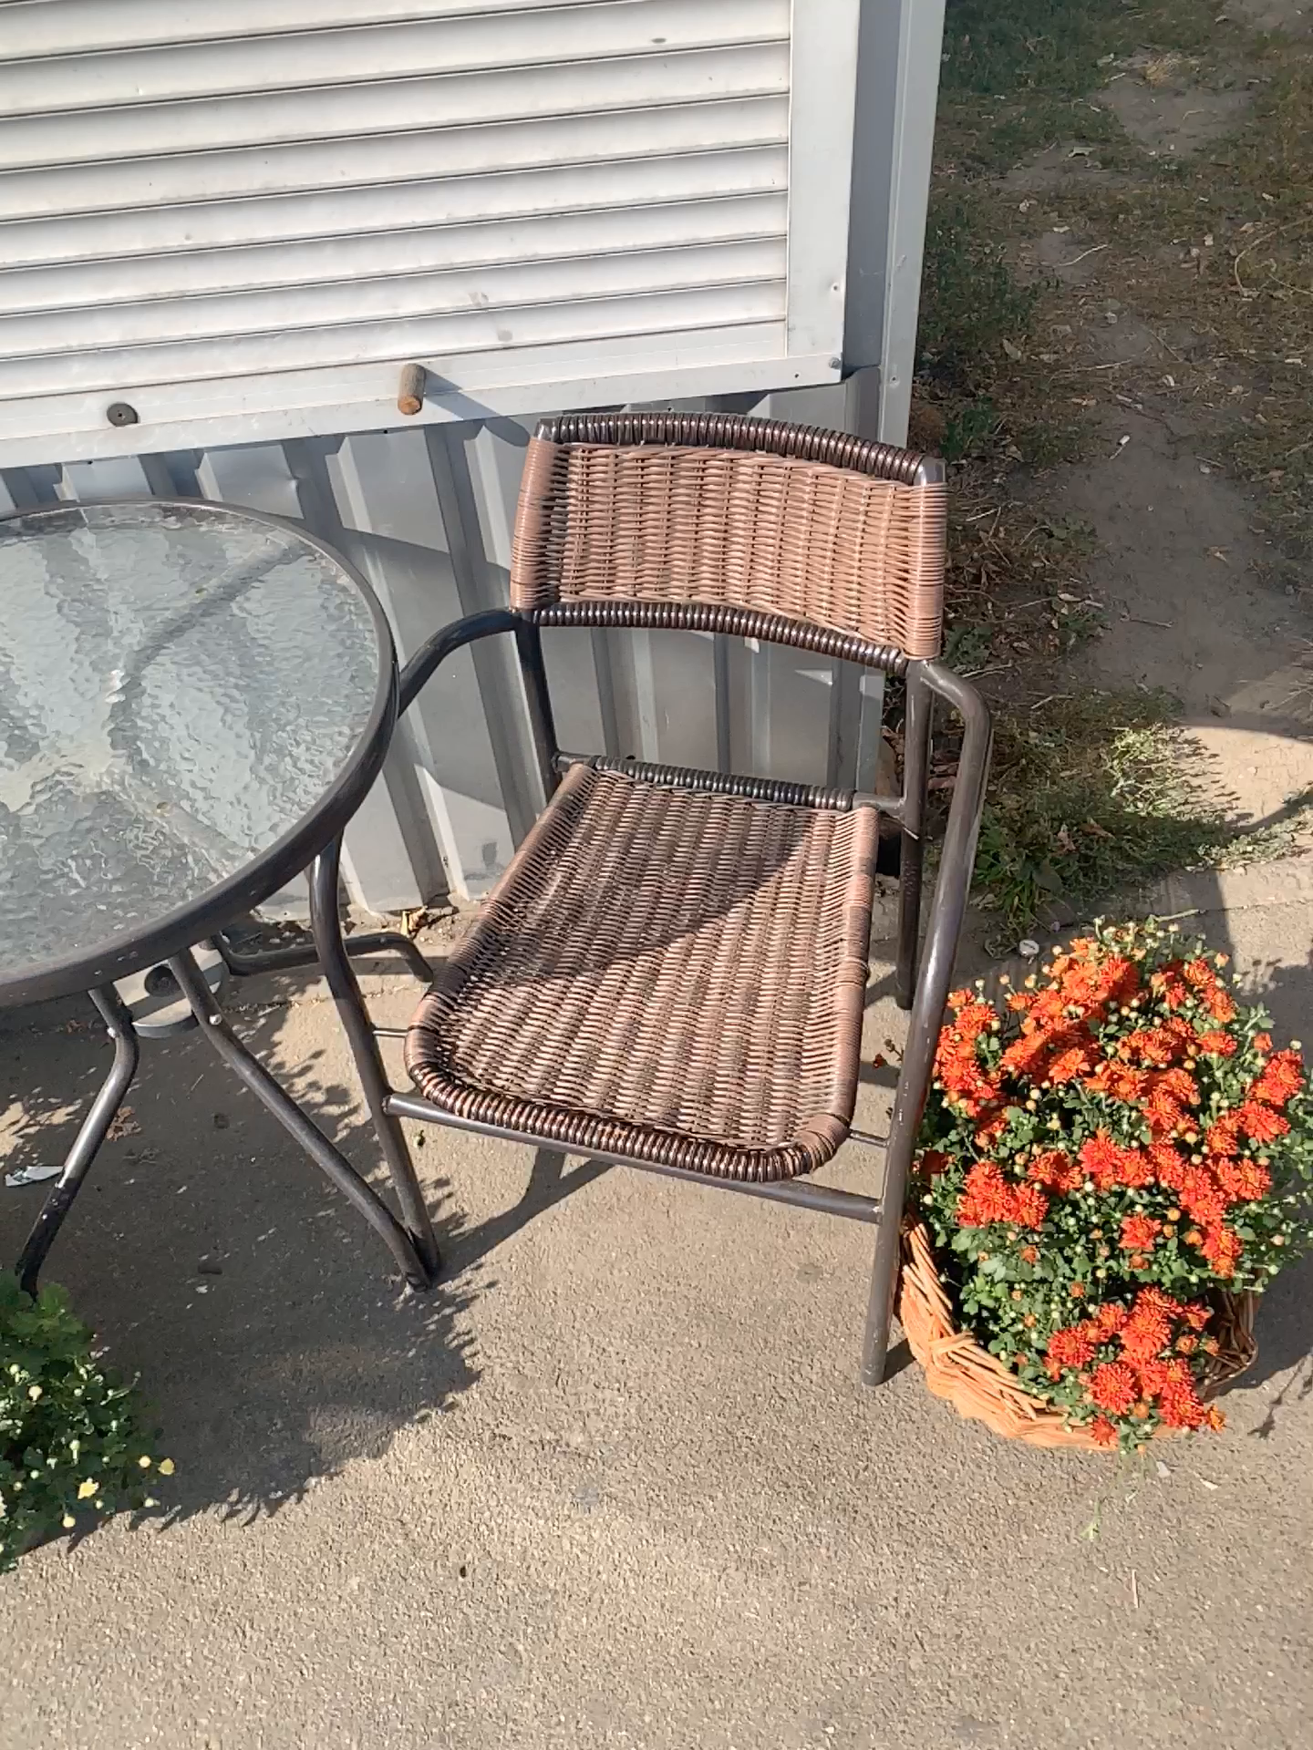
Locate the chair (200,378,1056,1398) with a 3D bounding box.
[{"bbox_3d":[0.049,0.010,1.396,0.570,0.717,0.692,8,50,11],"label":"chair"}]
